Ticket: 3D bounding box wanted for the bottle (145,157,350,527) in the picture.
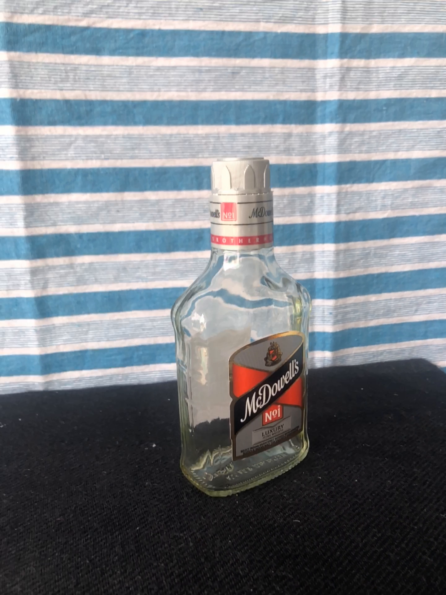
[{"bbox_3d":[0.010,0.014,0.230,0.070,0.149,0.050,-11,19,-35],"label":"bottle"}]
